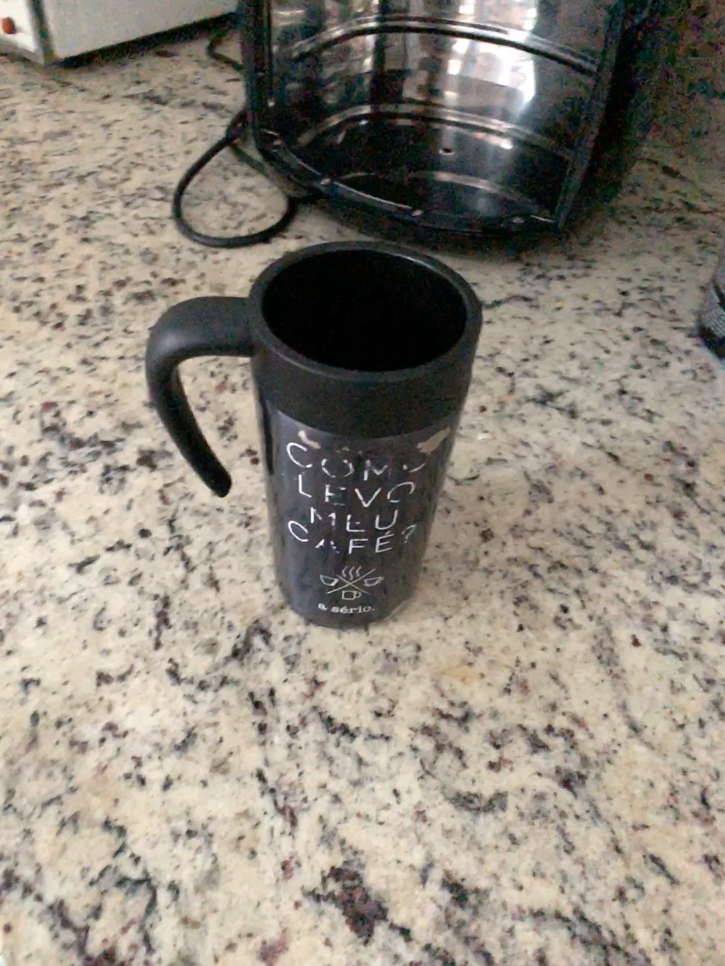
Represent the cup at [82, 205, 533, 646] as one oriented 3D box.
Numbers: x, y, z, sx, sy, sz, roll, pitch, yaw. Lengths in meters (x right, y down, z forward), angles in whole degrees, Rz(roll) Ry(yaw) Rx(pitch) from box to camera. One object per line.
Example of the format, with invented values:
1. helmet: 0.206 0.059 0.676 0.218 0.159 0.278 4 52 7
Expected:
1. cup: -0.017 -0.013 0.278 0.120 0.139 0.080 4 48 -2
